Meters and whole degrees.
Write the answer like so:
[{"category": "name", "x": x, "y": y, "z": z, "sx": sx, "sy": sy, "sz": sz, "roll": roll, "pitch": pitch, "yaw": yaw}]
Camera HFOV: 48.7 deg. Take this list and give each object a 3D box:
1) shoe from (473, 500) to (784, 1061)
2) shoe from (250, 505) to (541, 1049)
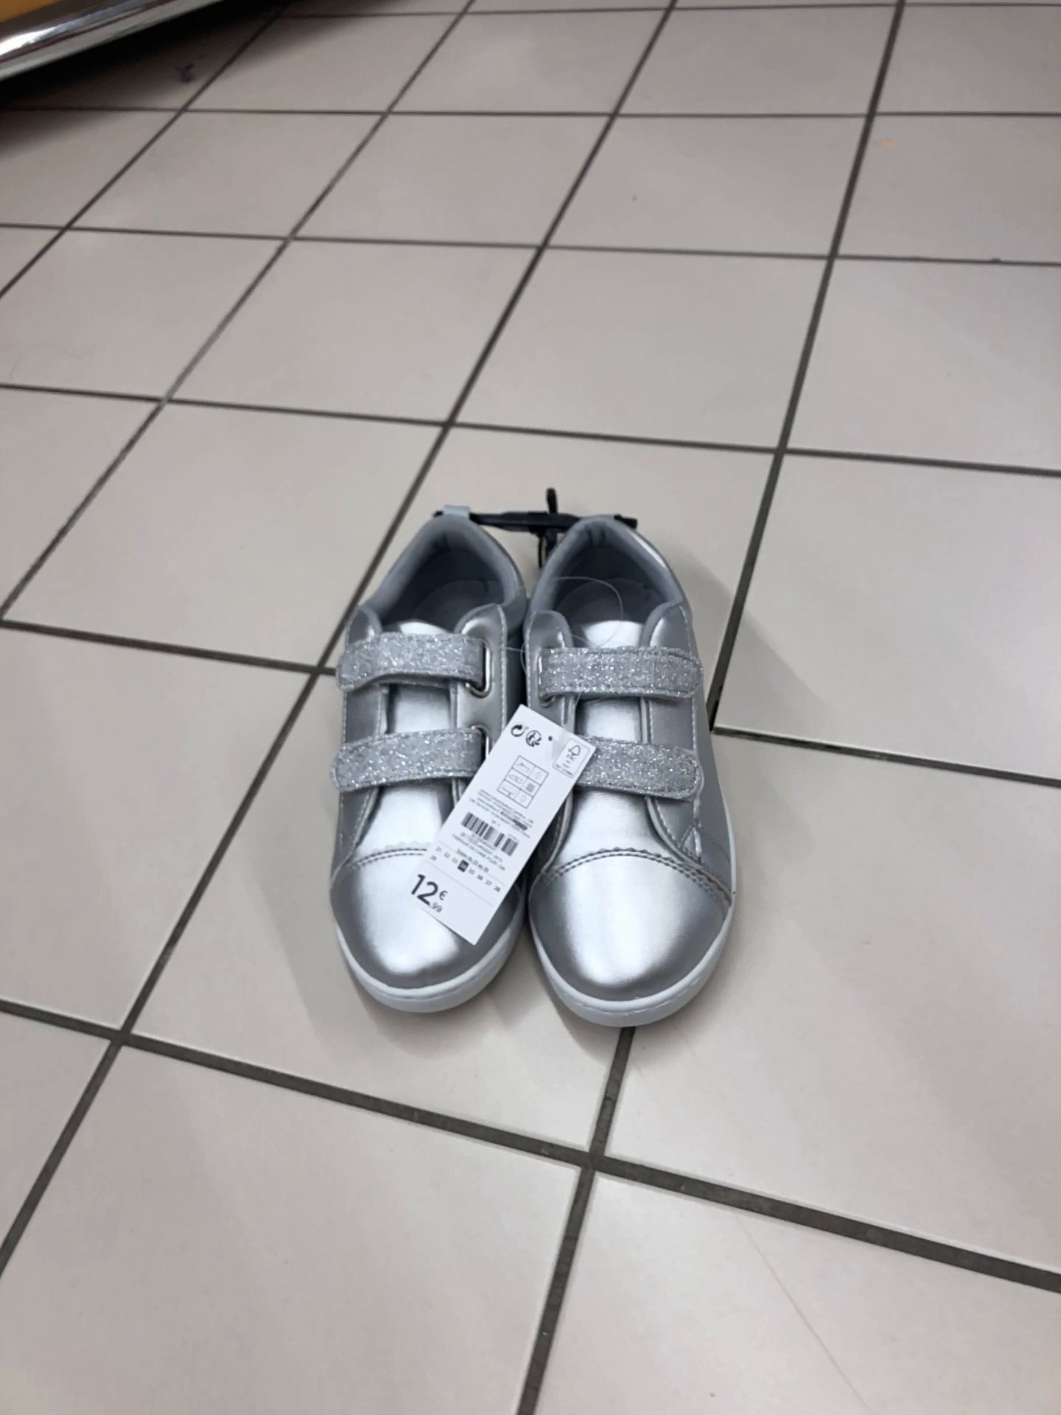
[{"category": "shoe", "x": 0.035, "y": 0.022, "z": 0.493, "sx": 0.090, "sy": 0.086, "sz": 0.216, "roll": -9, "pitch": 50, "yaw": 2}, {"category": "shoe", "x": -0.051, "y": 0.022, "z": 0.504, "sx": 0.090, "sy": 0.086, "sz": 0.216, "roll": -7, "pitch": 50, "yaw": 4}]
